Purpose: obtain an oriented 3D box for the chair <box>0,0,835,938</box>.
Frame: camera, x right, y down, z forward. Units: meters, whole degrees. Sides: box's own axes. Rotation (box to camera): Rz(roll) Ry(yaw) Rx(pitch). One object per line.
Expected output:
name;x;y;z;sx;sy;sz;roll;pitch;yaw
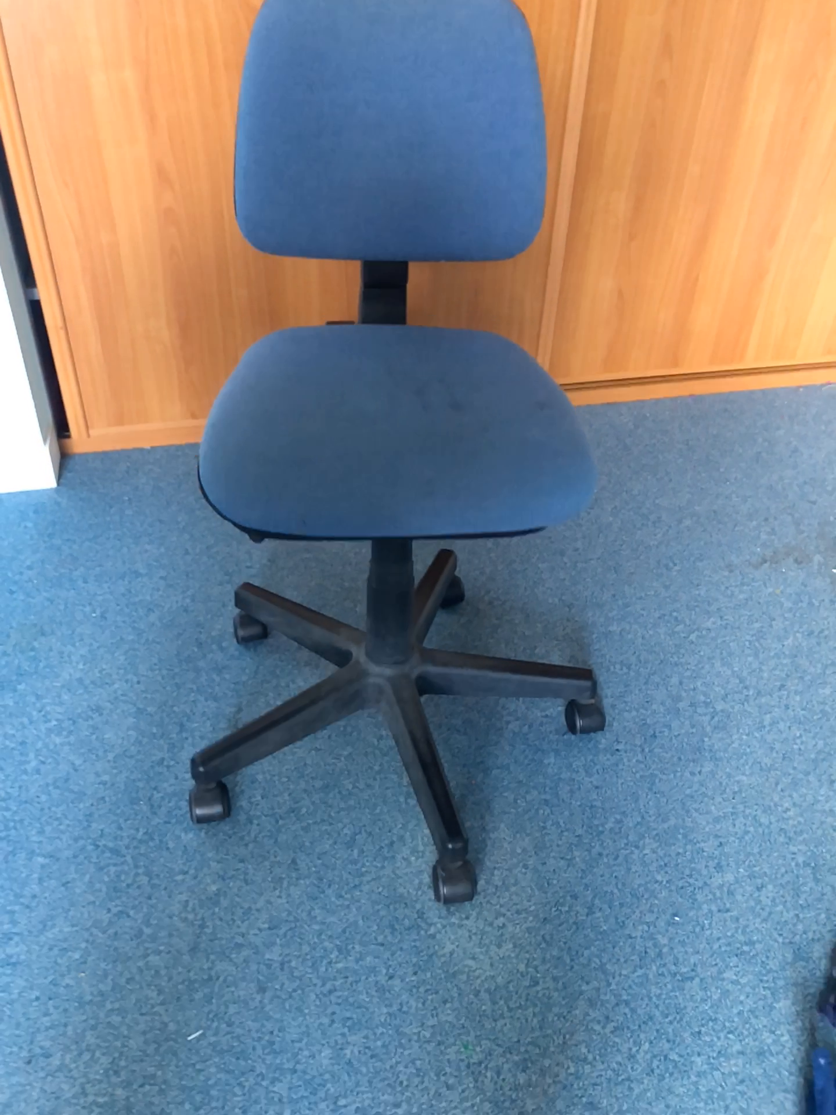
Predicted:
chair;-0.016;-0.156;1.132;0.650;0.913;0.765;-2;38;-6
